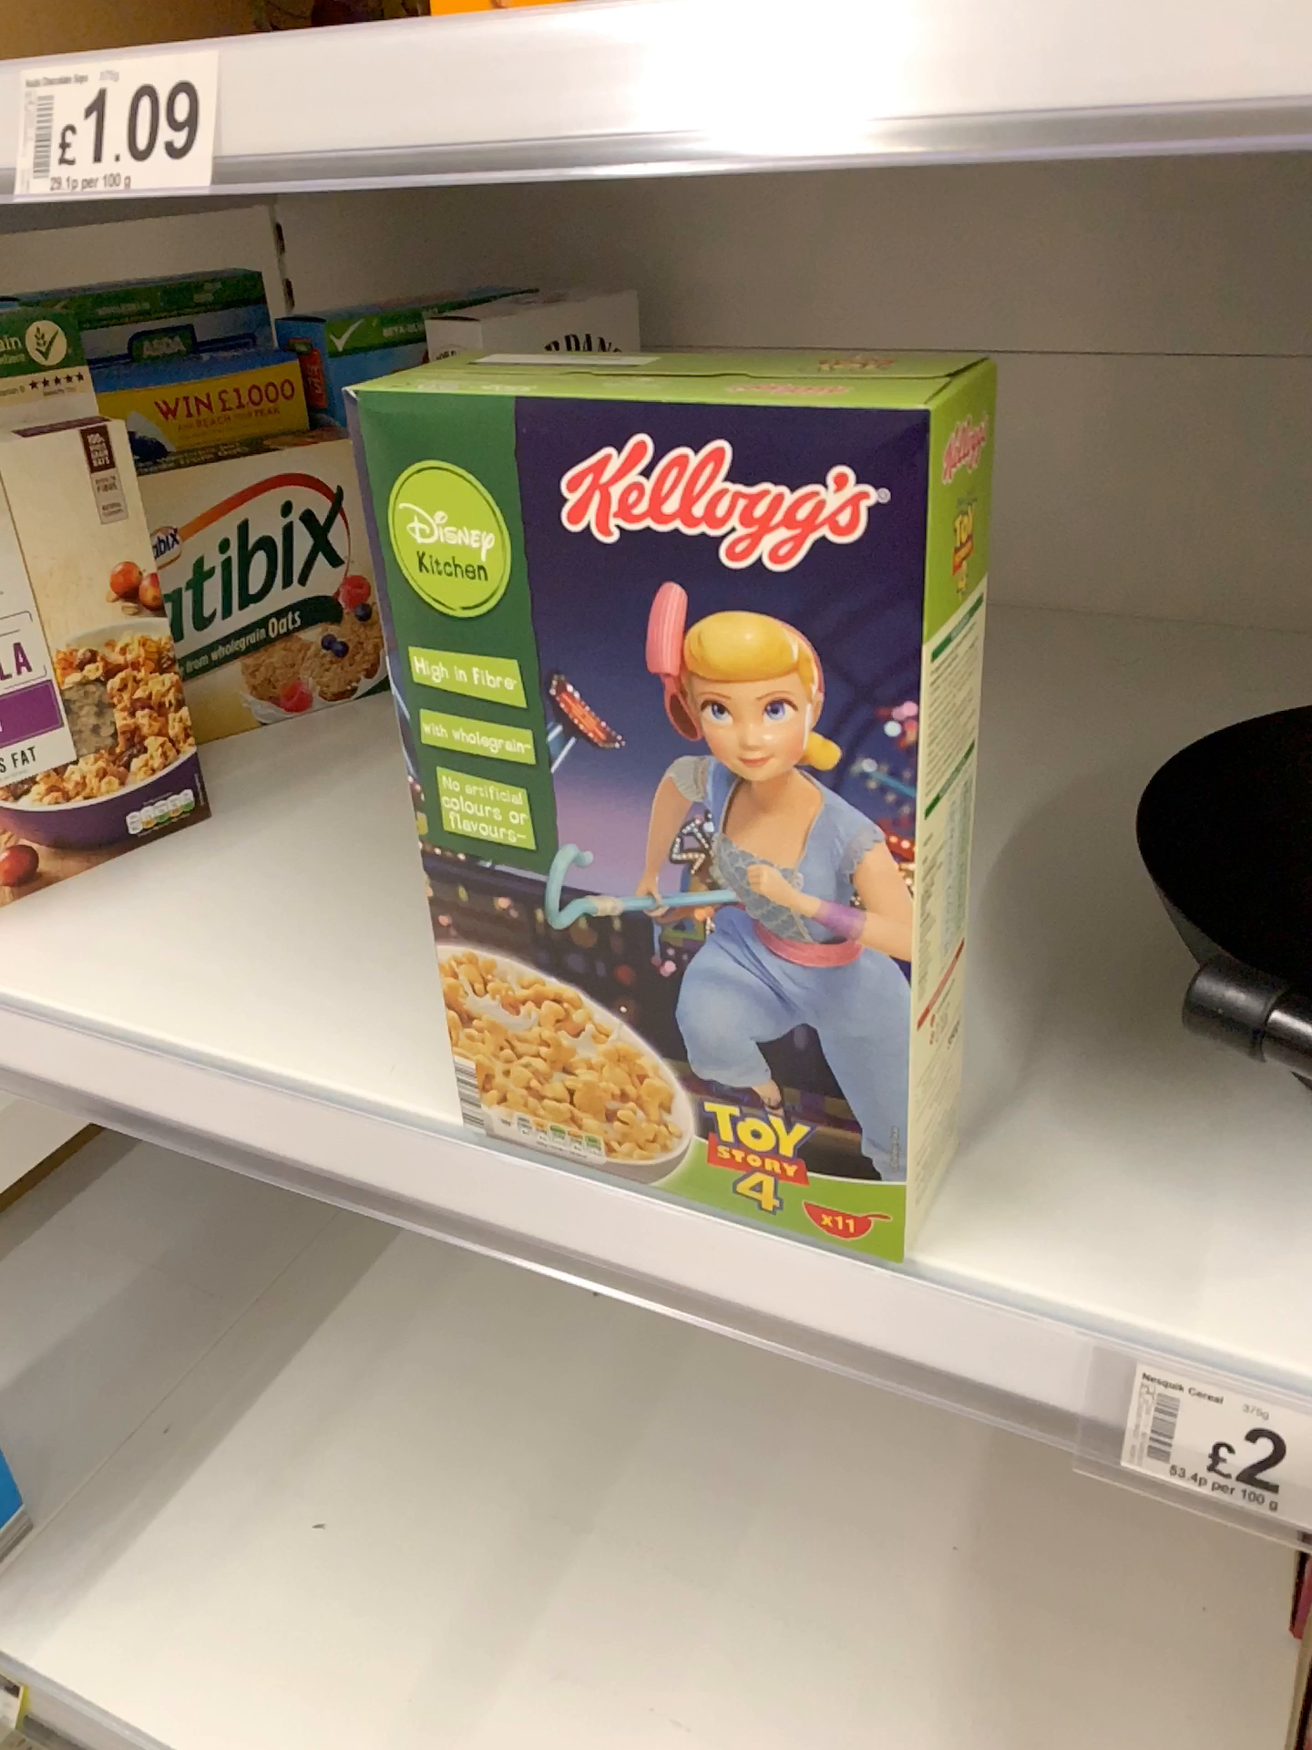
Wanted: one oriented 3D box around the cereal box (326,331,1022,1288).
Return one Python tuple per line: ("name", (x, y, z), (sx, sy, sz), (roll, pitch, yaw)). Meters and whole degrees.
("cereal box", (0.011, -0.023, 0.467), (0.190, 0.297, 0.081), (11, 32, 26))
